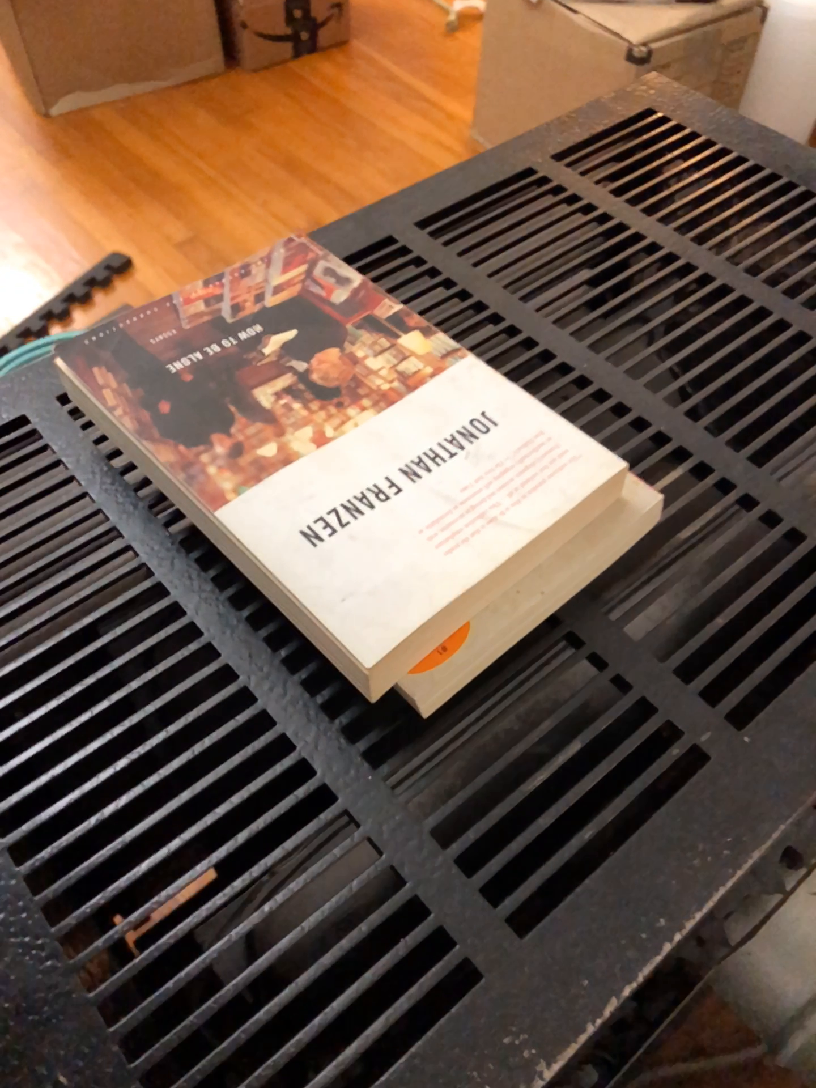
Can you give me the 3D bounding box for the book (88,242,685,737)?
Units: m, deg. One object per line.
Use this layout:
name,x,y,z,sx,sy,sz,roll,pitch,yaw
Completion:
book,-0.014,-0.042,0.395,0.150,0.030,0.211,-36,62,-25

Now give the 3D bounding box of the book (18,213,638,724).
book,-0.037,-0.050,0.378,0.150,0.030,0.211,-36,62,-25
